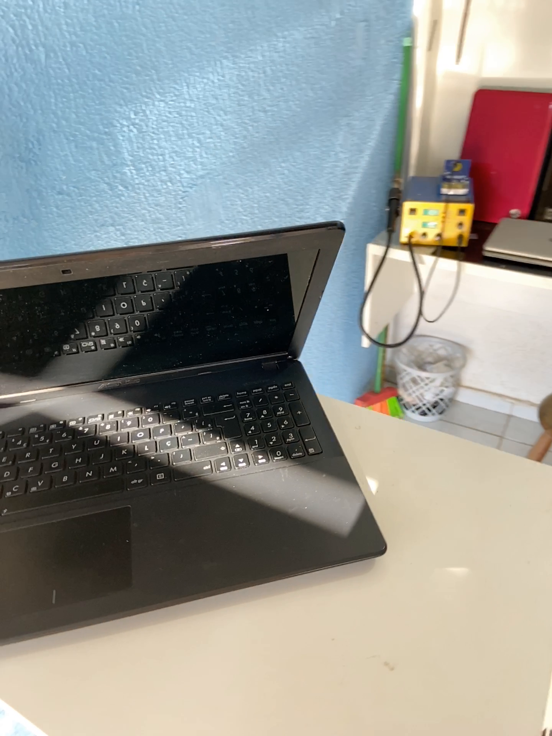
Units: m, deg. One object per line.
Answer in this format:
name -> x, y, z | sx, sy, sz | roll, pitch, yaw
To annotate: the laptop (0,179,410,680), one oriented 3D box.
laptop -> -0.133, 0.013, 0.419 | 0.373, 0.190, 0.240 | -9, 35, -9
